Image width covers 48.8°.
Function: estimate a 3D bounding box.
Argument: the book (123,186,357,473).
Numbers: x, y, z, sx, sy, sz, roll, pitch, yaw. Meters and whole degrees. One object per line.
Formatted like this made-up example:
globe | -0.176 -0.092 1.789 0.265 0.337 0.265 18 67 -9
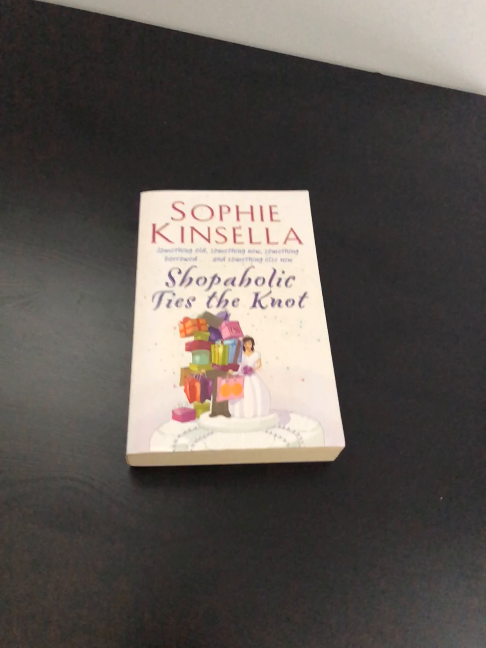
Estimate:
book | -0.006 -0.007 0.363 0.130 0.035 0.200 -1 60 -4
